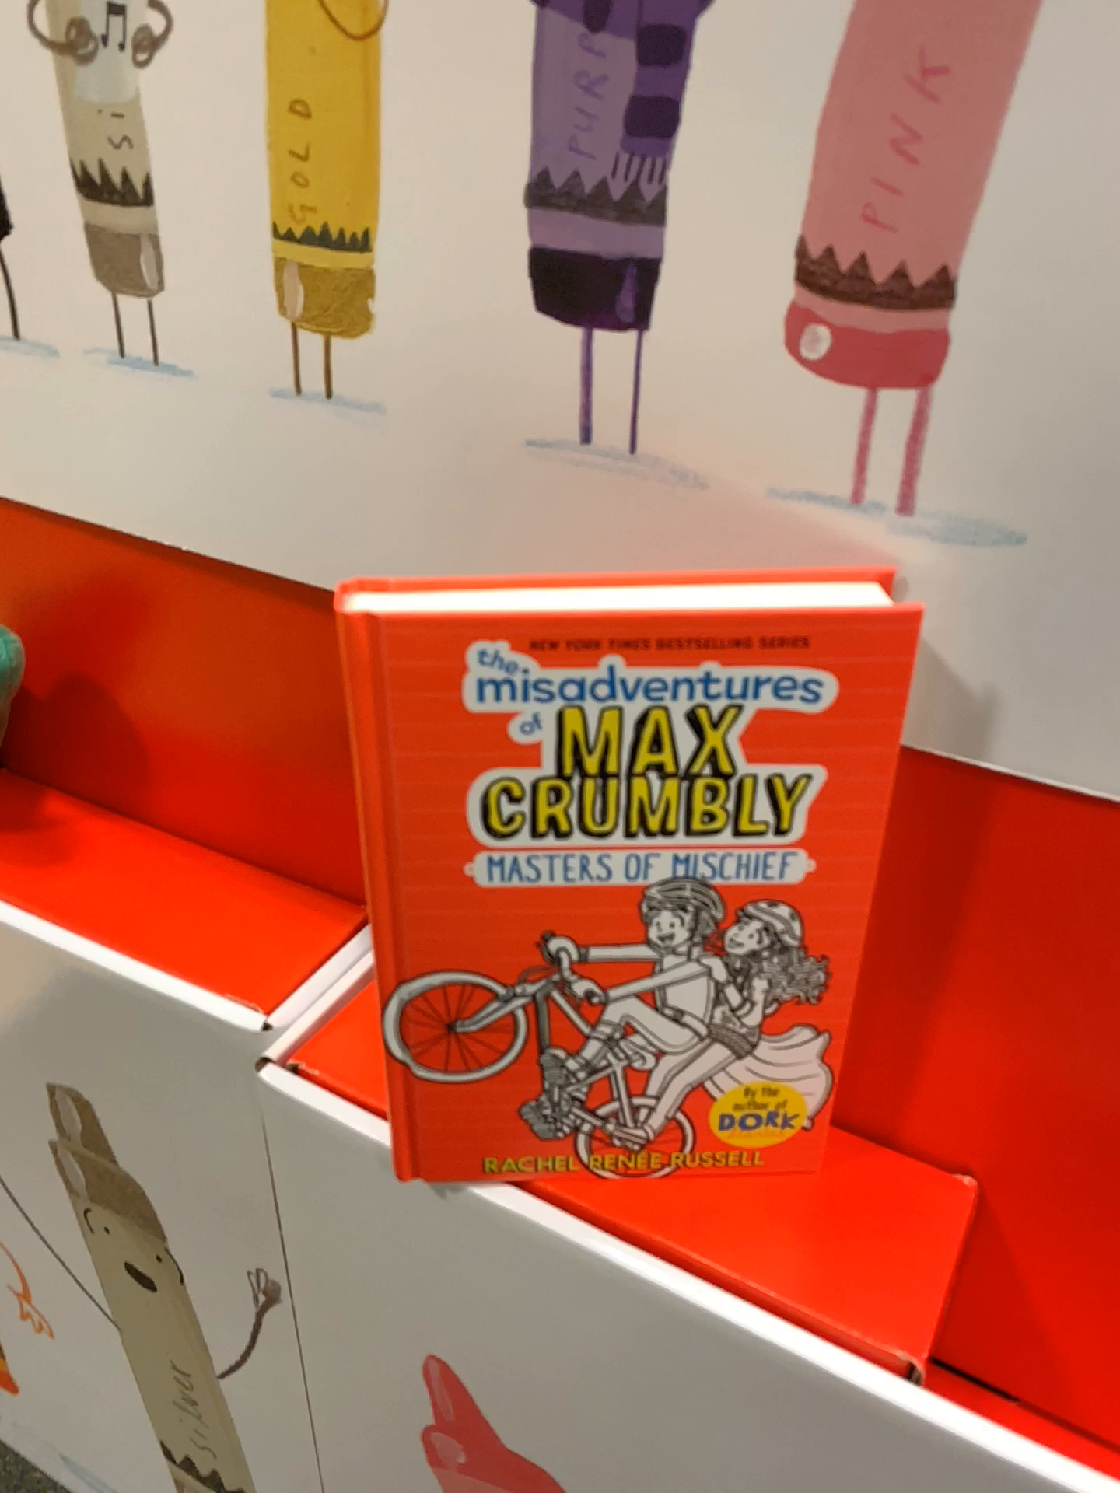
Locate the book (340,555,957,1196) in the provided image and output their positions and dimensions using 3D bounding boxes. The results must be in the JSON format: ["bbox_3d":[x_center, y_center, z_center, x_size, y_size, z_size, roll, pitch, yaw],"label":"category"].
[{"bbox_3d":[0.017,0.046,0.326,0.142,0.201,0.031,-2,33,-6],"label":"book"}]
